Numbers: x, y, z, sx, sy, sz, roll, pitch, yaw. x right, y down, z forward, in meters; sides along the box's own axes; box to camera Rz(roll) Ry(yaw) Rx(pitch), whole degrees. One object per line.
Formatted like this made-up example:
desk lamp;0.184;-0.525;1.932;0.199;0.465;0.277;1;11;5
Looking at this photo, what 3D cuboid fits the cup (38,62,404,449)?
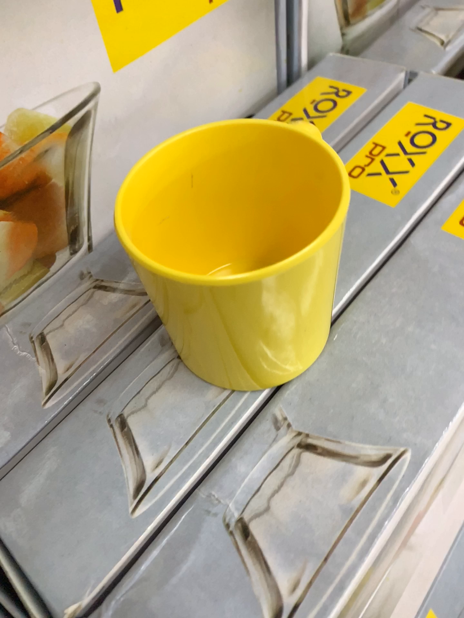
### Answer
cup;0.005;-0.023;0.179;0.070;0.079;0.100;22;57;22
